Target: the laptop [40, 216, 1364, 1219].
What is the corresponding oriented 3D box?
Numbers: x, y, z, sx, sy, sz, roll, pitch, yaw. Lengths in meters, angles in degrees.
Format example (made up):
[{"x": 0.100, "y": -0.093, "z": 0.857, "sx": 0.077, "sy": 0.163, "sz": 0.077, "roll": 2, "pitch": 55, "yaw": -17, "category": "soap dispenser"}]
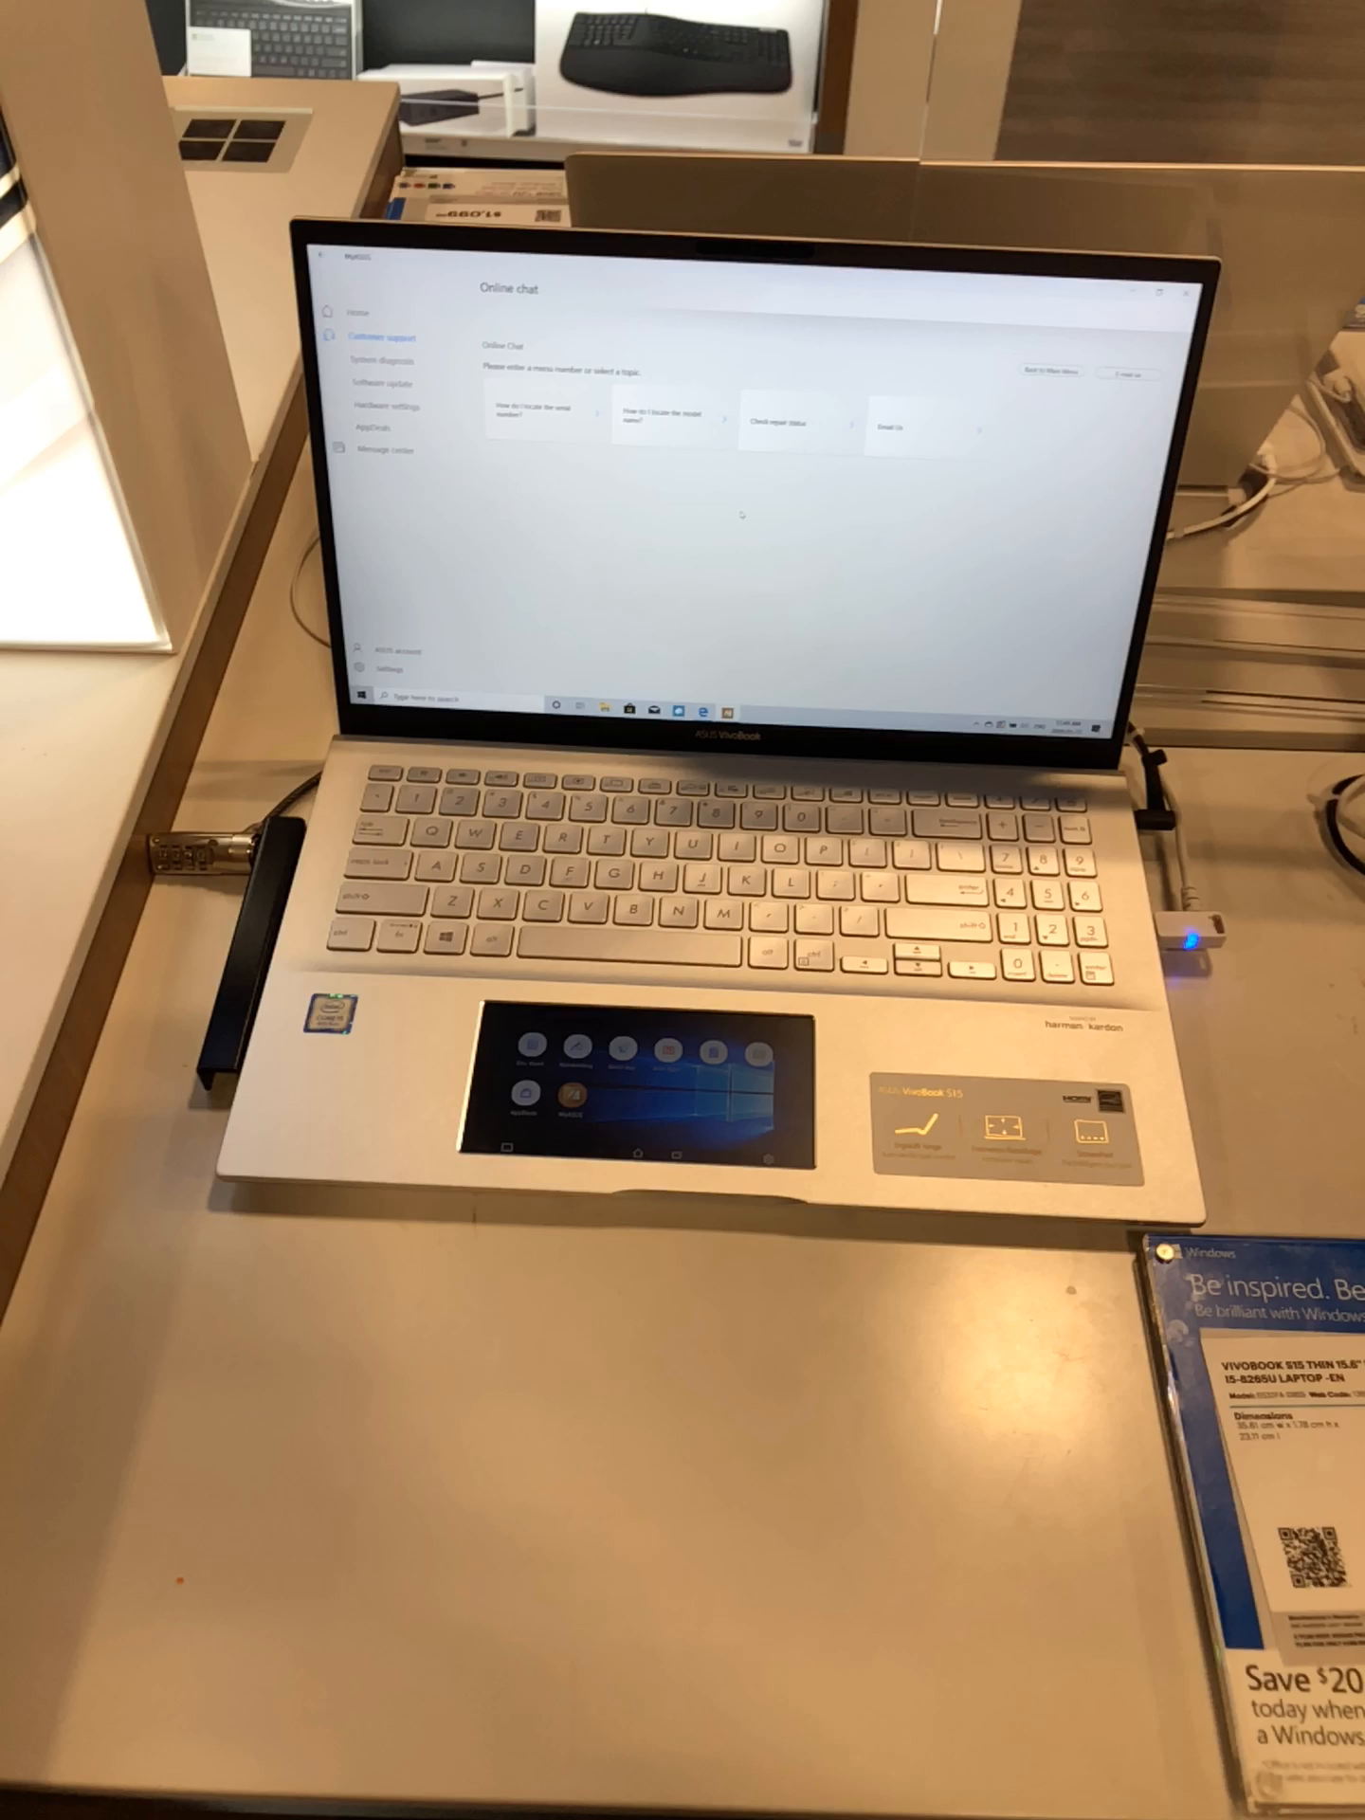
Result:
[{"x": 0.016, "y": -0.075, "z": 0.523, "sx": 0.330, "sy": 0.189, "sz": 0.285, "roll": 3, "pitch": 50, "yaw": 1, "category": "laptop"}]
